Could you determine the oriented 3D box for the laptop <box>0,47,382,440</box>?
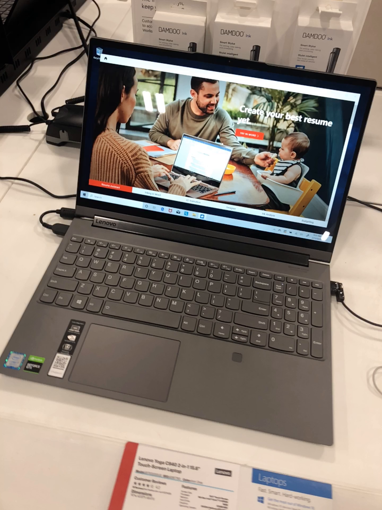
[{"bbox_3d":[0.006,-0.040,0.478,0.345,0.189,0.369,10,50,5],"label":"laptop"}]
